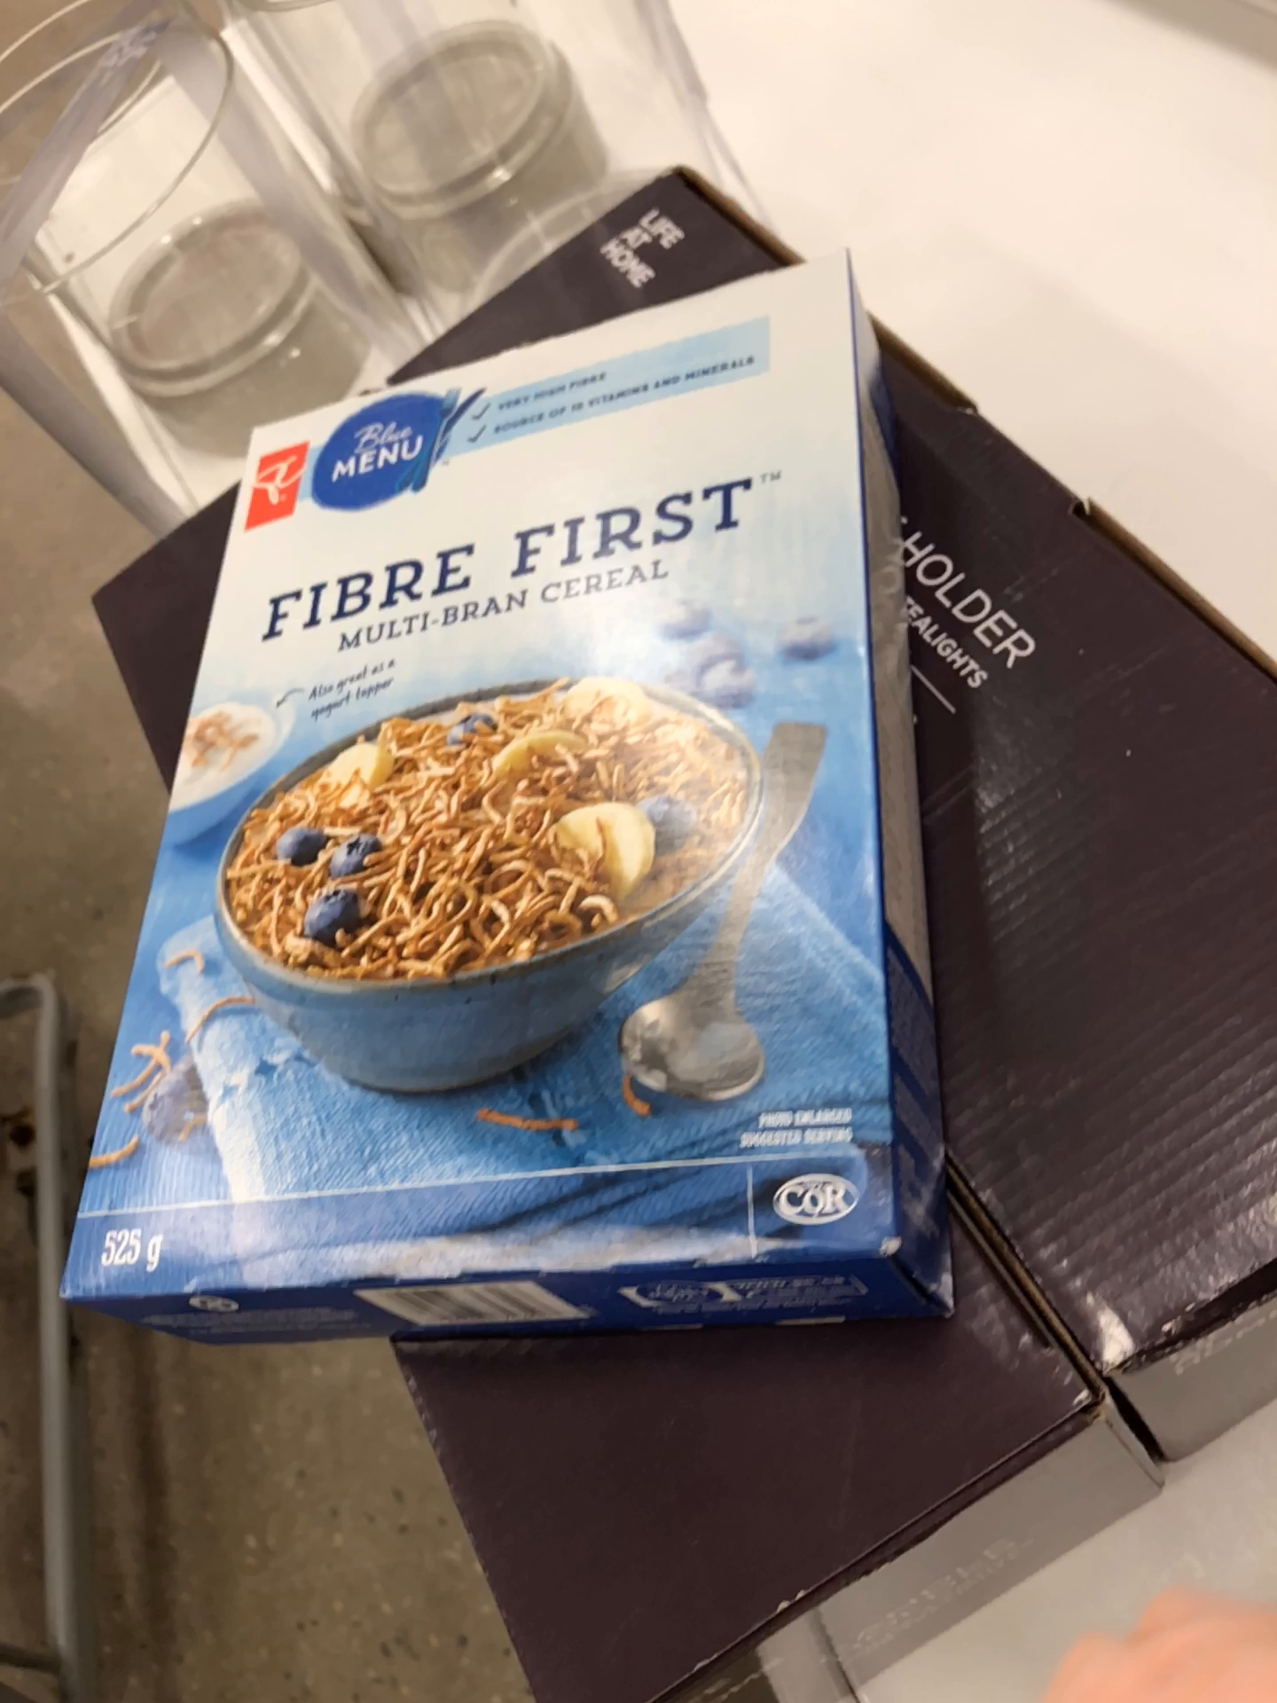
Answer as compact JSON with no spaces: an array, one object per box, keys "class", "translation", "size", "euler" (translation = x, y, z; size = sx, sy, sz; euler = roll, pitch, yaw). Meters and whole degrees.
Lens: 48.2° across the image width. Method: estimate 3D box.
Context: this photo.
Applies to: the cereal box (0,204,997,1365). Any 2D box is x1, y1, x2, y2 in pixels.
[{"class":"cereal box","translation":[-0.030,-0.017,0.353],"size":[0.200,0.060,0.260],"euler":[-9,60,20]}]
